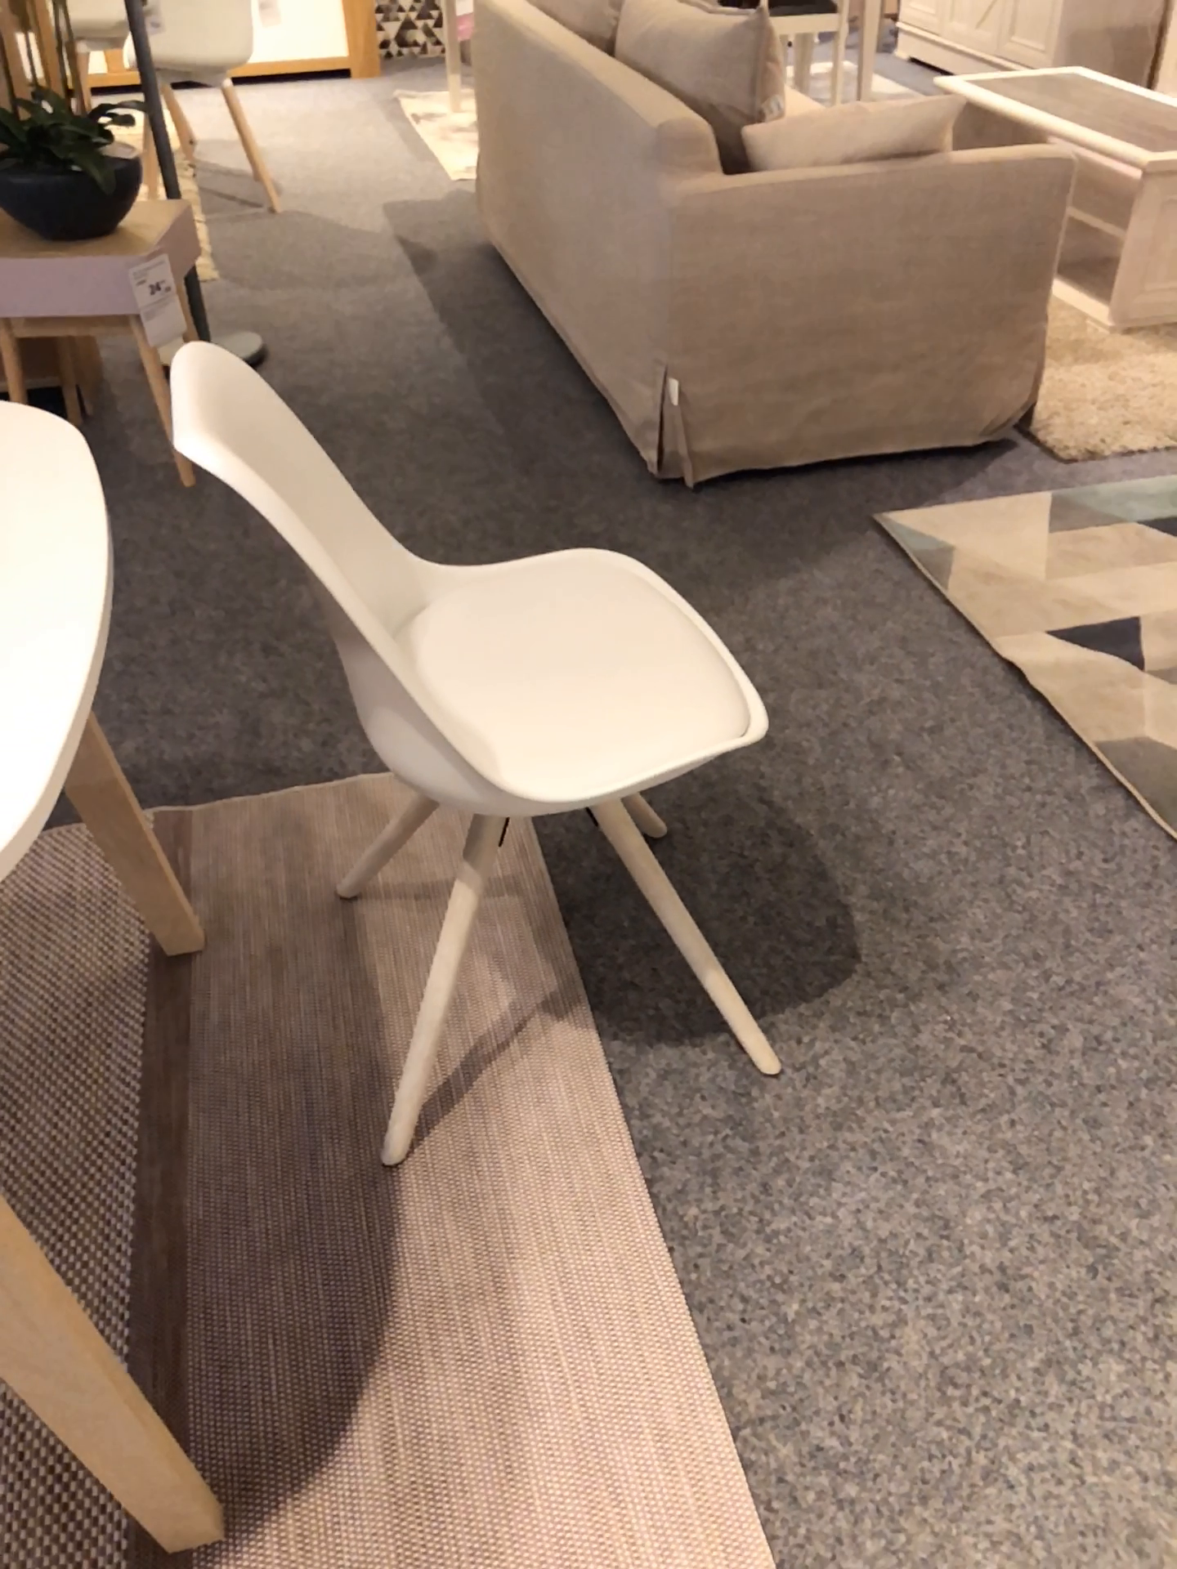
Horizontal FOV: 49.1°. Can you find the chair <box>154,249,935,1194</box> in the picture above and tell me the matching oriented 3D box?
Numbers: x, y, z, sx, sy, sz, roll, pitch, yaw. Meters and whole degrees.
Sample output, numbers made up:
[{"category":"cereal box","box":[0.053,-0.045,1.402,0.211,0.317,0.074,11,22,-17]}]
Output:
[{"category":"chair","box":[-0.078,-0.083,1.398,0.591,0.756,0.552,-10,39,-12]}]
